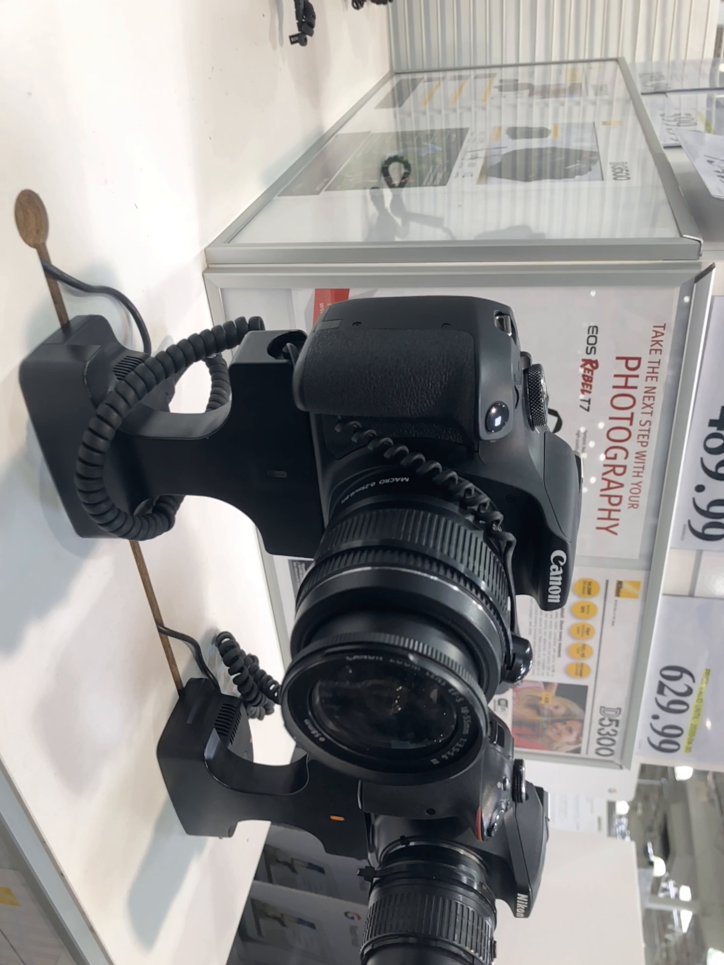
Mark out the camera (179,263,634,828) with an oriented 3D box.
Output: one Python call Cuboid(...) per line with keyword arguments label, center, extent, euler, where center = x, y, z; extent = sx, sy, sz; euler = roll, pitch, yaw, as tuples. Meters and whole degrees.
Cuboid(label="camera", center=(0.027, 0.013, 0.289), extent=(0.150, 0.110, 0.130), euler=(-74, 163, -50))
